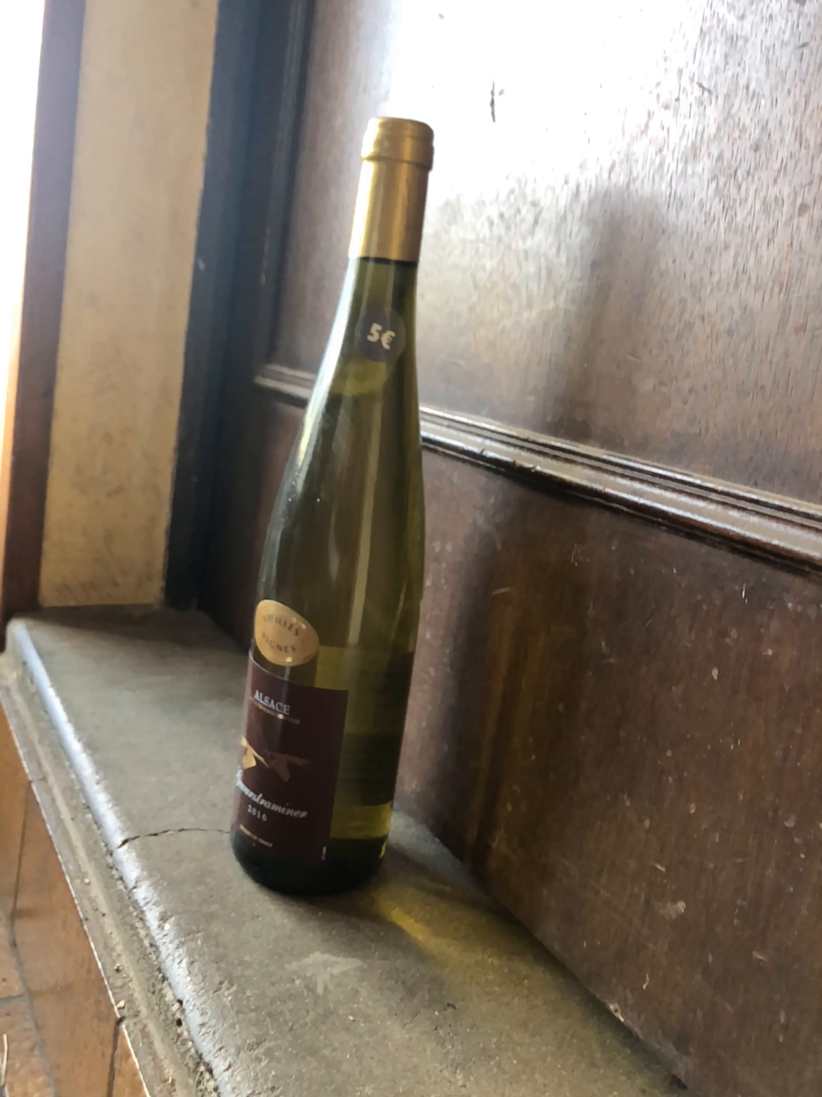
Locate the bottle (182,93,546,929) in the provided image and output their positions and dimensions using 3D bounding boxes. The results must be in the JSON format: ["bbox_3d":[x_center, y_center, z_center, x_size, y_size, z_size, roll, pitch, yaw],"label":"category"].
[{"bbox_3d":[-0.023,-0.013,0.384,0.080,0.309,0.080,8,11,-2],"label":"bottle"}]
